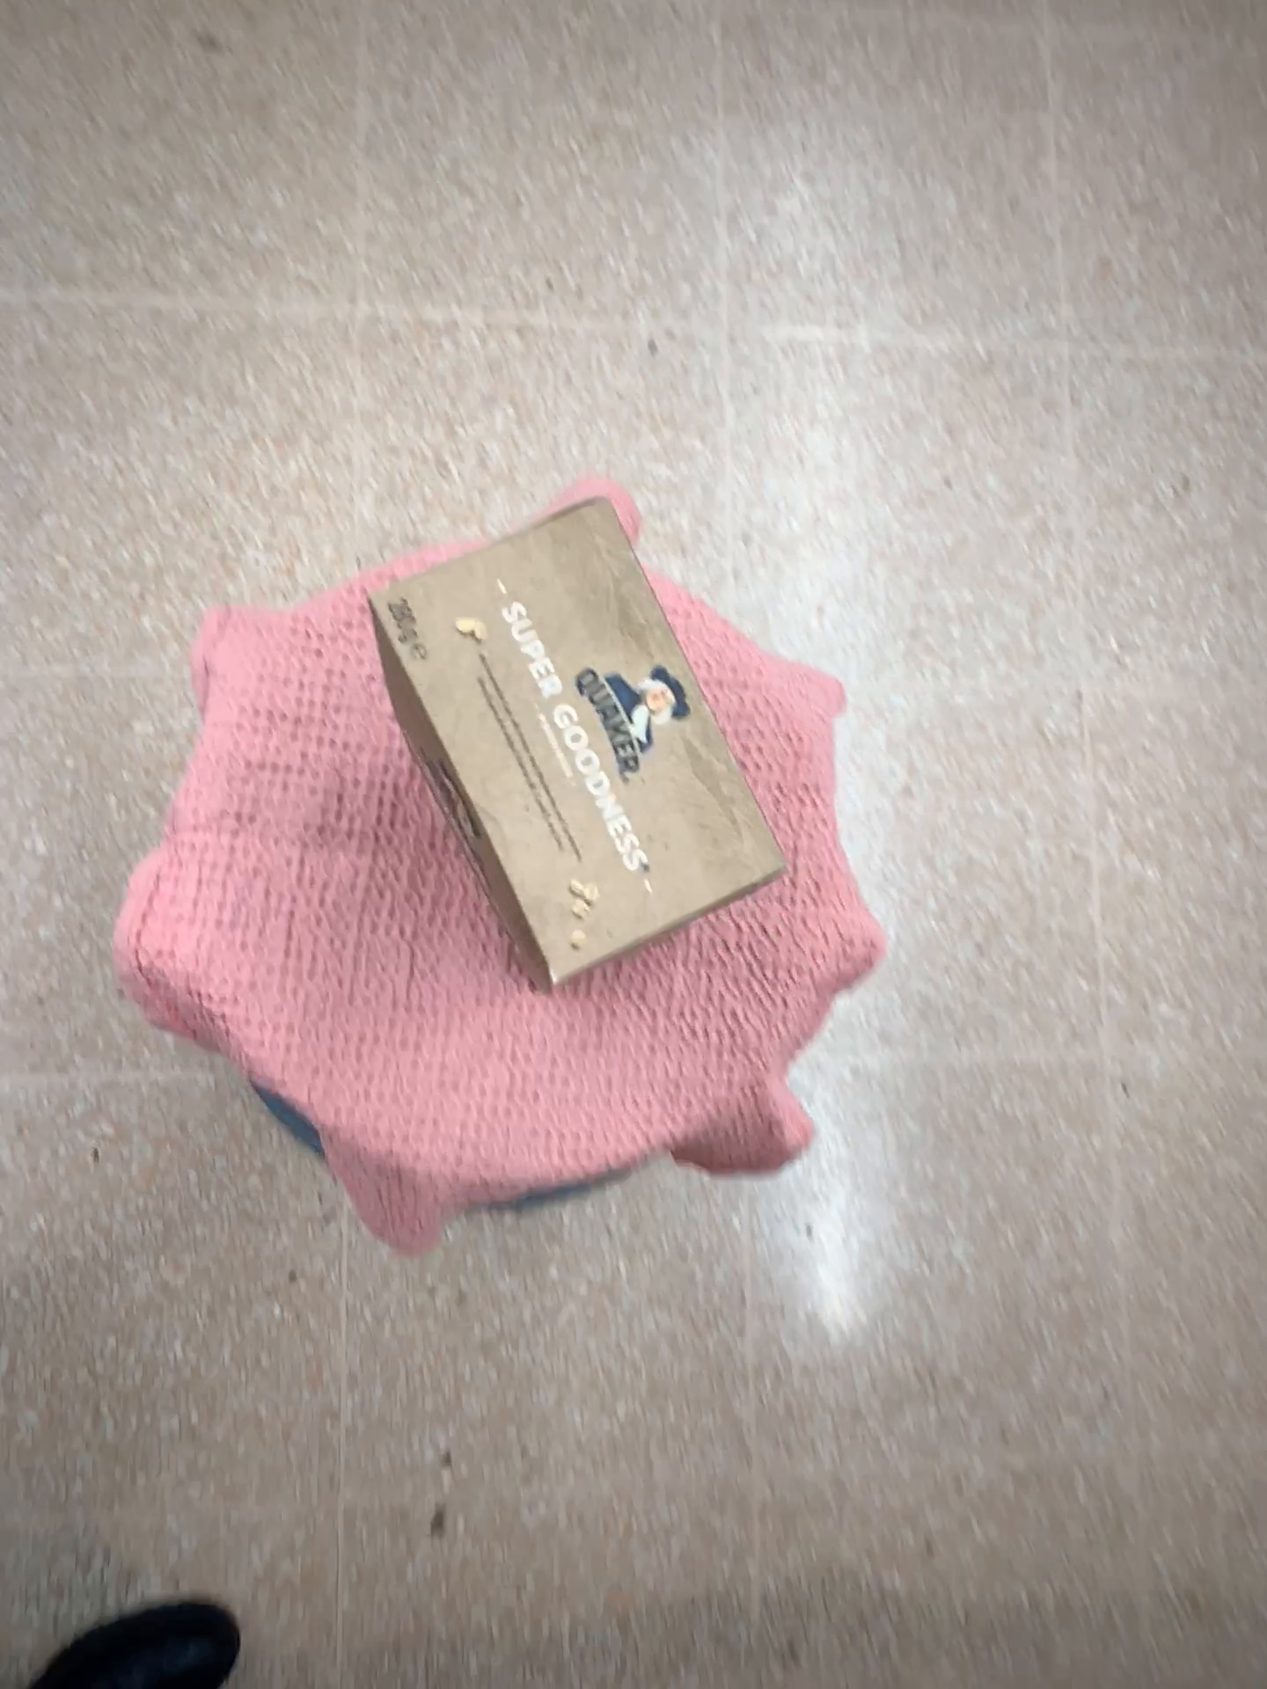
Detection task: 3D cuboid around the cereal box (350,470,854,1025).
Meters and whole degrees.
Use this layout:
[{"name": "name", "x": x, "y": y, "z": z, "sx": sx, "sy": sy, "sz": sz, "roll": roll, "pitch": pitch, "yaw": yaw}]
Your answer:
[{"name": "cereal box", "x": -0.020, "y": -0.018, "z": 0.489, "sx": 0.100, "sy": 0.210, "sz": 0.140, "roll": -25, "pitch": 86, "yaw": -9}]
